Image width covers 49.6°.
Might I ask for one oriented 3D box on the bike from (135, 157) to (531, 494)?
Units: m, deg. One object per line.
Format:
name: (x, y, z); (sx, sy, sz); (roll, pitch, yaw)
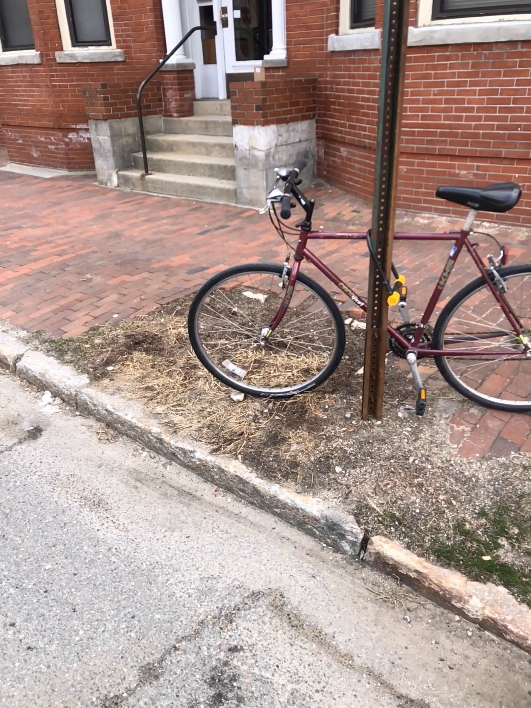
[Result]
bike: (0.500, -0.177, 2.236); (1.726, 1.012, 0.671); (4, 27, 12)
